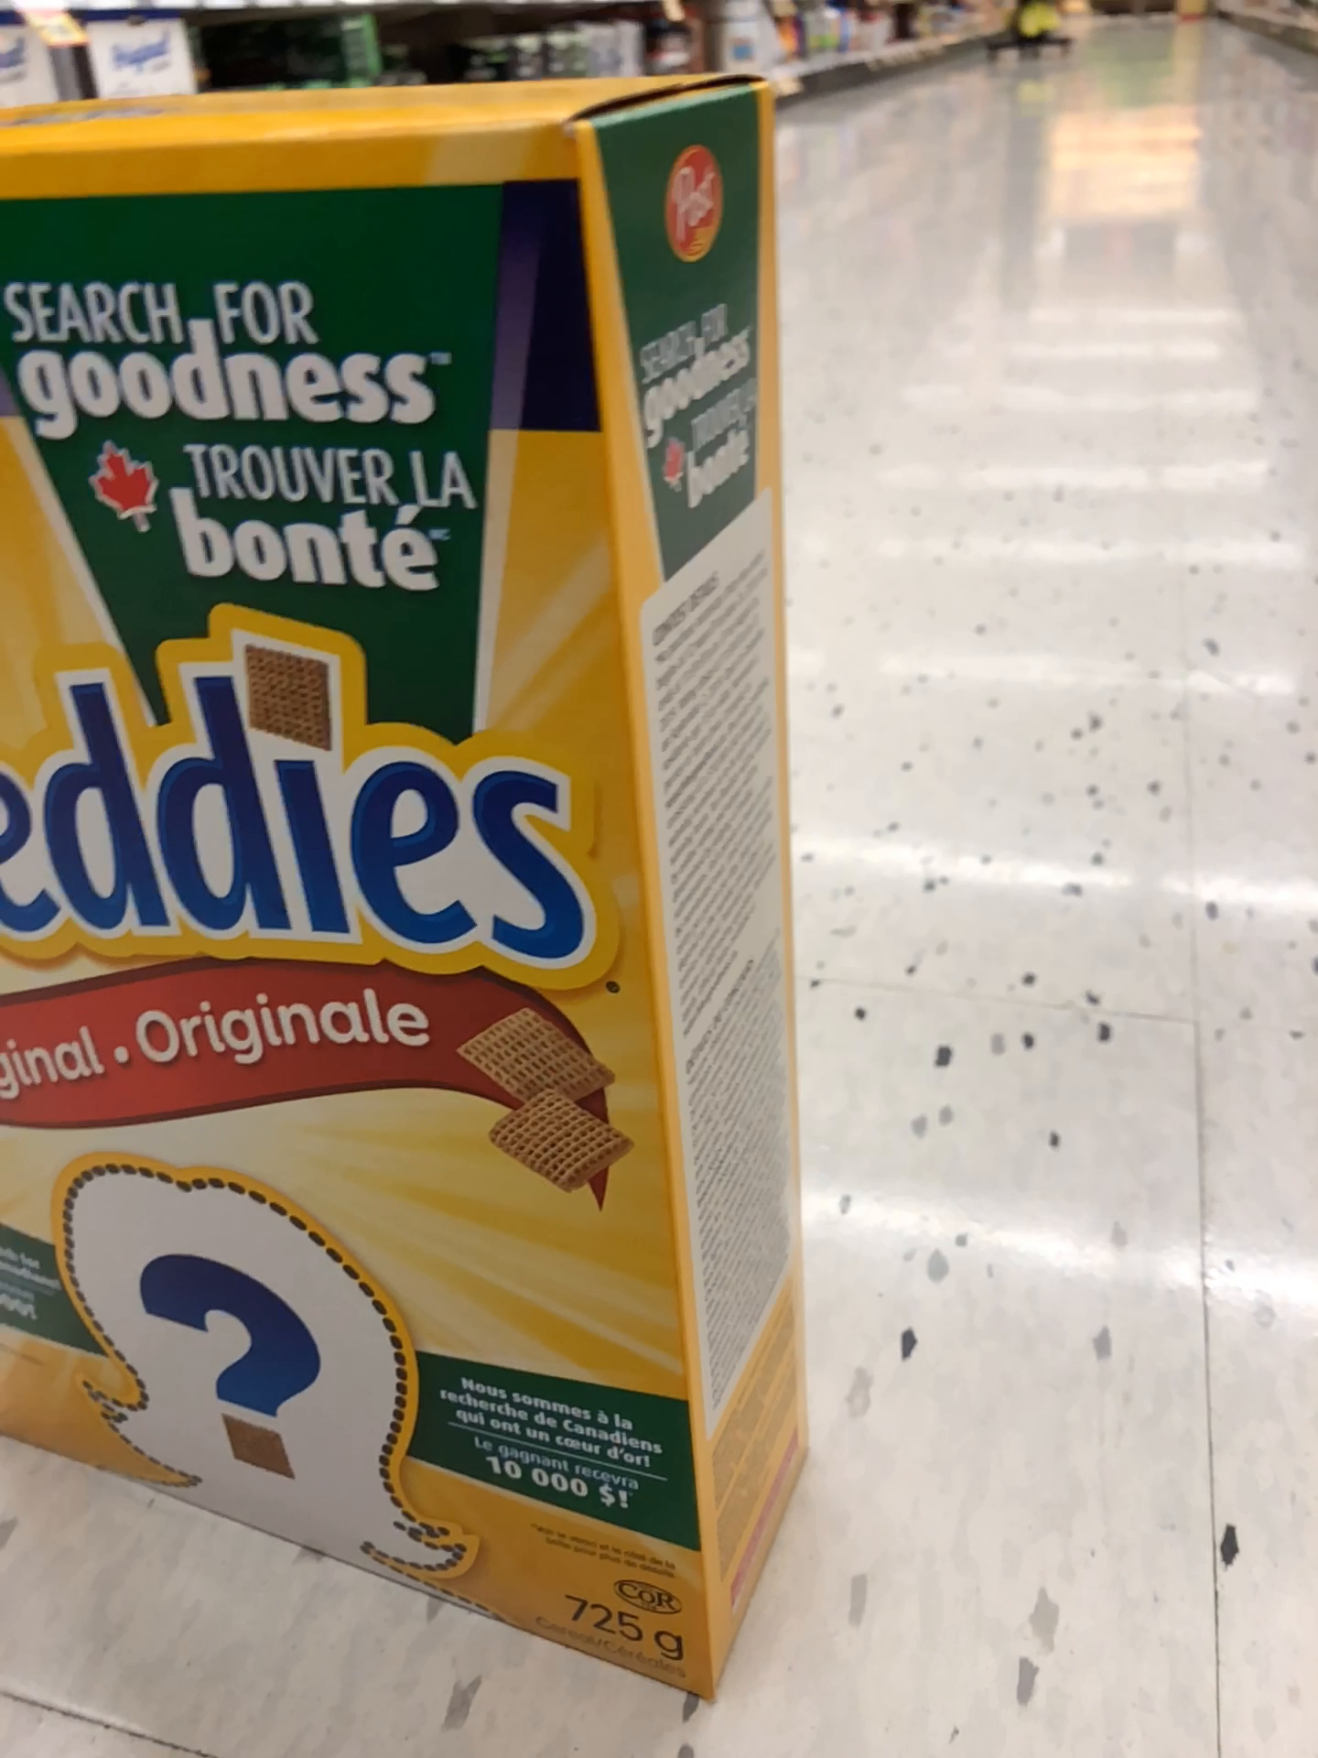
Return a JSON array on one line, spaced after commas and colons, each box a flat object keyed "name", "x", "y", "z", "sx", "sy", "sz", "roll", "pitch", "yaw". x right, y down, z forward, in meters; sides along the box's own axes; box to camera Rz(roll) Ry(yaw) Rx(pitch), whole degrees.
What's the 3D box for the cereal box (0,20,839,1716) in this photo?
[{"name": "cereal box", "x": -0.077, "y": 0.017, "z": 0.302, "sx": 0.210, "sy": 0.318, "sz": 0.070, "roll": 8, "pitch": 35, "yaw": 21}]
